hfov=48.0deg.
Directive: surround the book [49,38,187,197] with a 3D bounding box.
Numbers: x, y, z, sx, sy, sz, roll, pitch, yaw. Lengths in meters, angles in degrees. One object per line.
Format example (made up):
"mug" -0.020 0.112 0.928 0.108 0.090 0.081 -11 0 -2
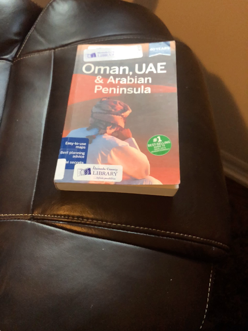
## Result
"book" -0.002 -0.066 0.333 0.137 0.030 0.203 1 66 4
